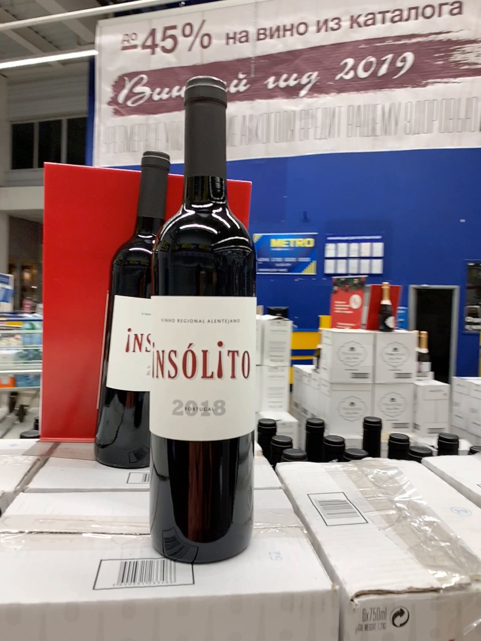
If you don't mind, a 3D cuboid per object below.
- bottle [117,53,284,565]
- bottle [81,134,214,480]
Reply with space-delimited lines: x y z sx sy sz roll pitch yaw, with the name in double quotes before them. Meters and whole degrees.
"bottle" -0.025 -0.007 0.347 0.090 0.310 0.090 2 1 0
"bottle" -0.101 -0.011 0.513 0.090 0.320 0.090 6 5 0
